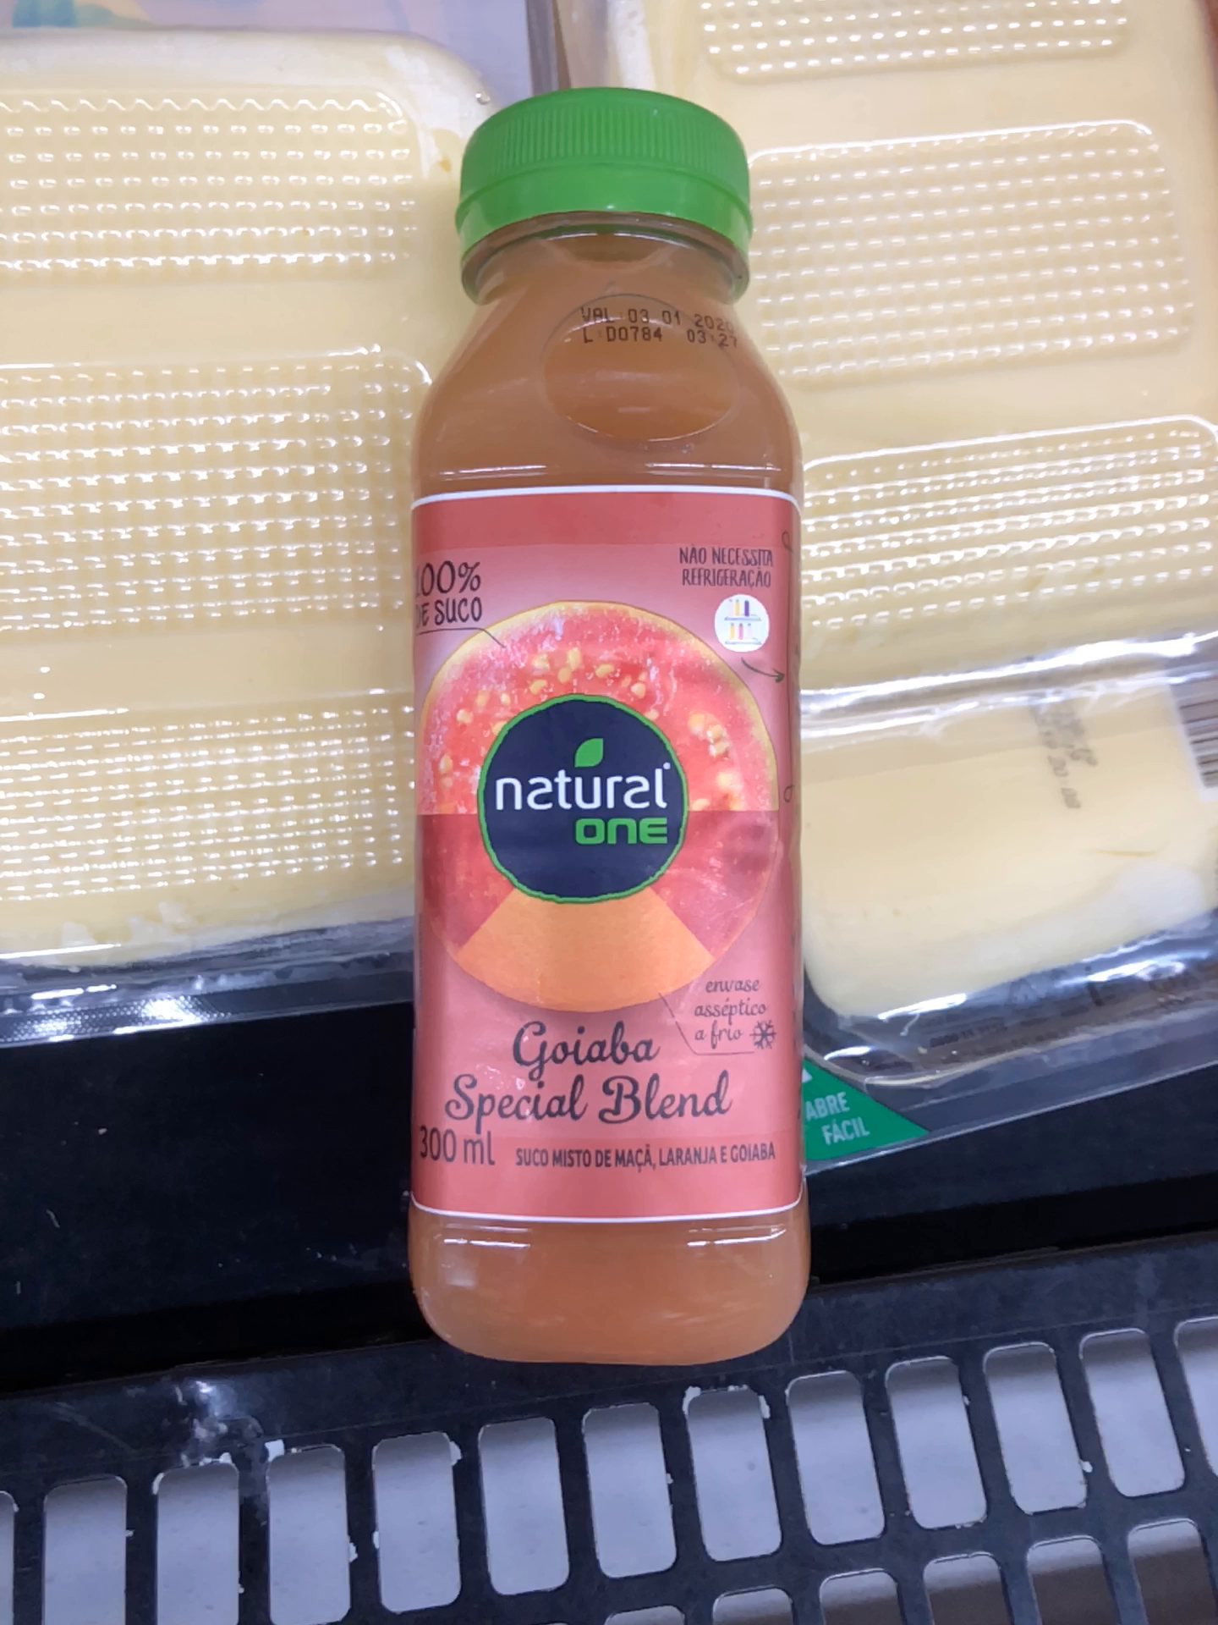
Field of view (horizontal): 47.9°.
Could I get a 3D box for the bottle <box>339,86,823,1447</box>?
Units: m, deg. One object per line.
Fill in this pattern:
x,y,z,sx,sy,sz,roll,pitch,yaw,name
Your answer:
-0.007,-0.008,0.216,0.060,0.070,0.180,0,83,-4,bottle
